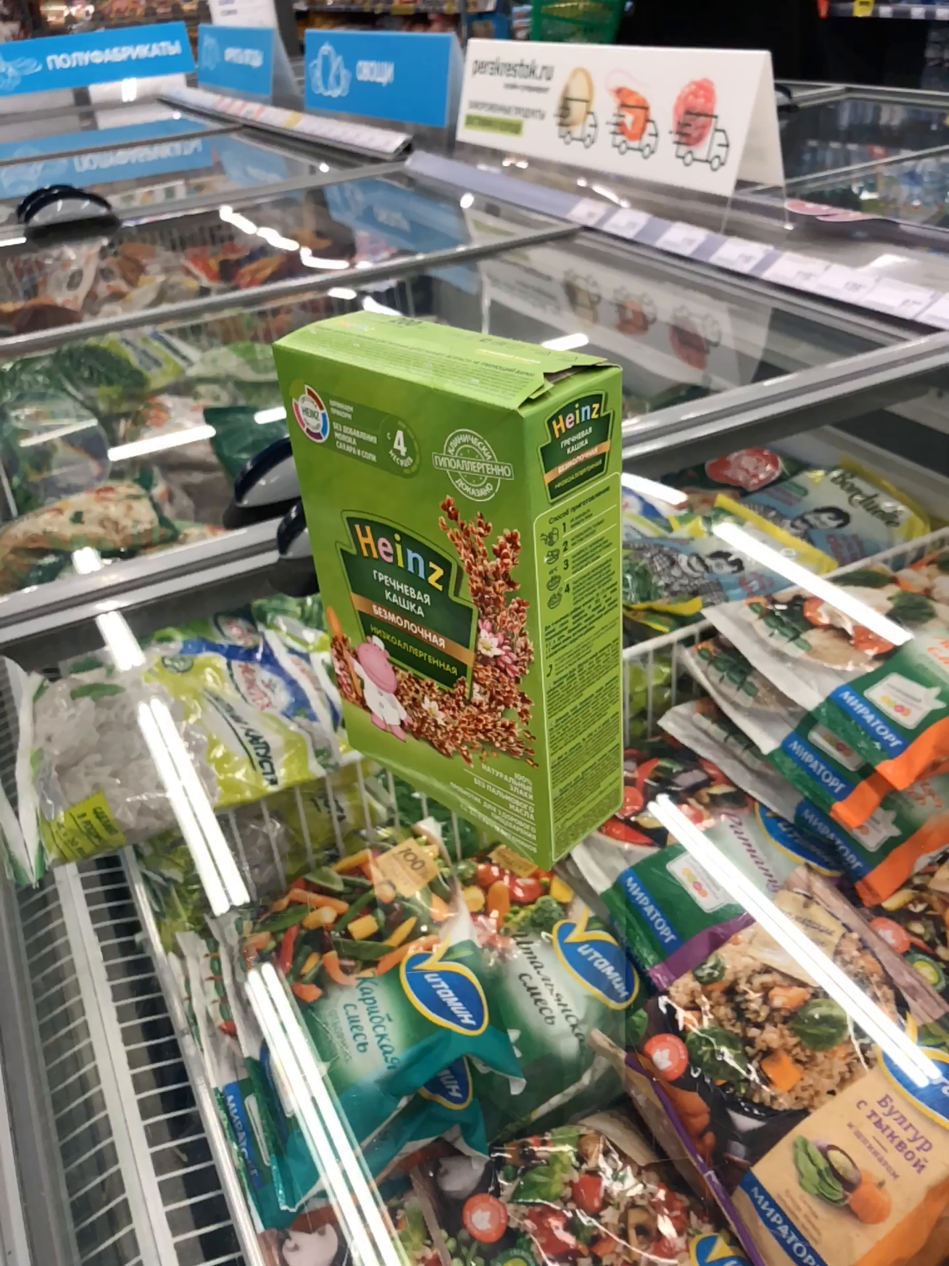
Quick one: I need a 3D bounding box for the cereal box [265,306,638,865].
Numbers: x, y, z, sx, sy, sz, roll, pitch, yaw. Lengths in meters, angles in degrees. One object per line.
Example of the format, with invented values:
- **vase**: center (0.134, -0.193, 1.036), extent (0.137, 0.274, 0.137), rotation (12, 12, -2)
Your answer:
- **cereal box**: center (-0.006, -0.021, 0.425), extent (0.050, 0.189, 0.140), rotation (-31, 40, -34)
